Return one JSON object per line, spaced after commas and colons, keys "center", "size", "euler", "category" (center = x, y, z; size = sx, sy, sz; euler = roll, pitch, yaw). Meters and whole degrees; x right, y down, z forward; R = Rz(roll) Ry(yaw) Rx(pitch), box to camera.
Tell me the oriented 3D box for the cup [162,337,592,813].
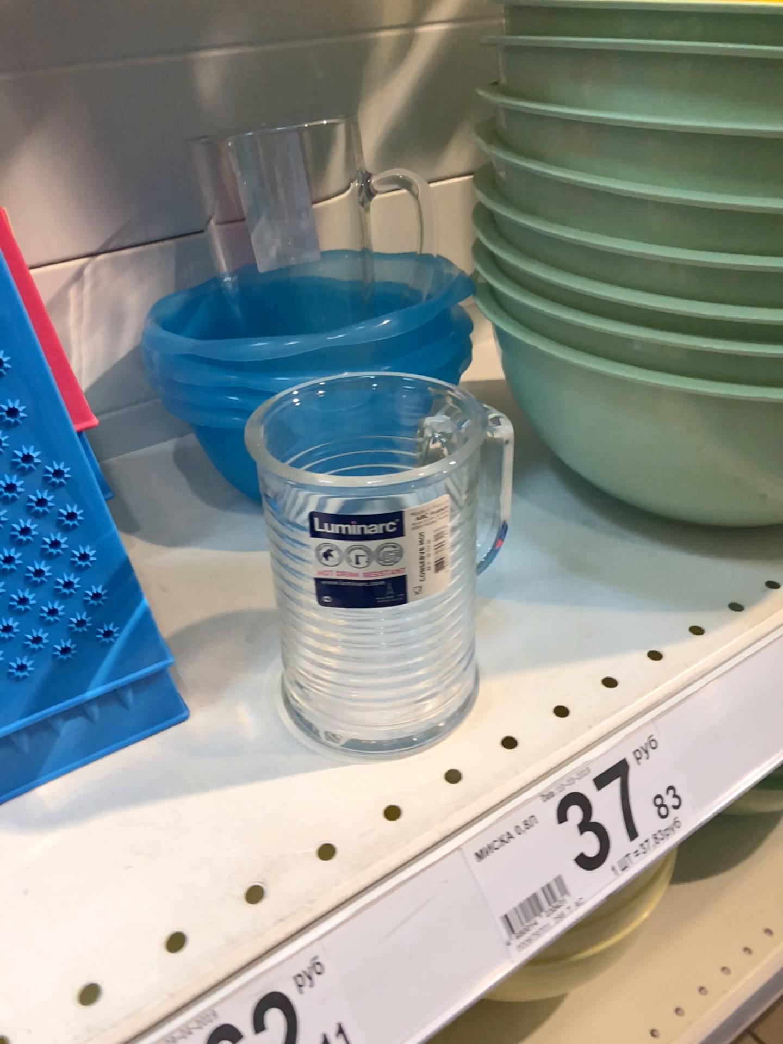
{"center": [-0.004, 0.012, 0.299], "size": [0.102, 0.104, 0.087], "euler": [-25, 40, -29], "category": "cup"}
